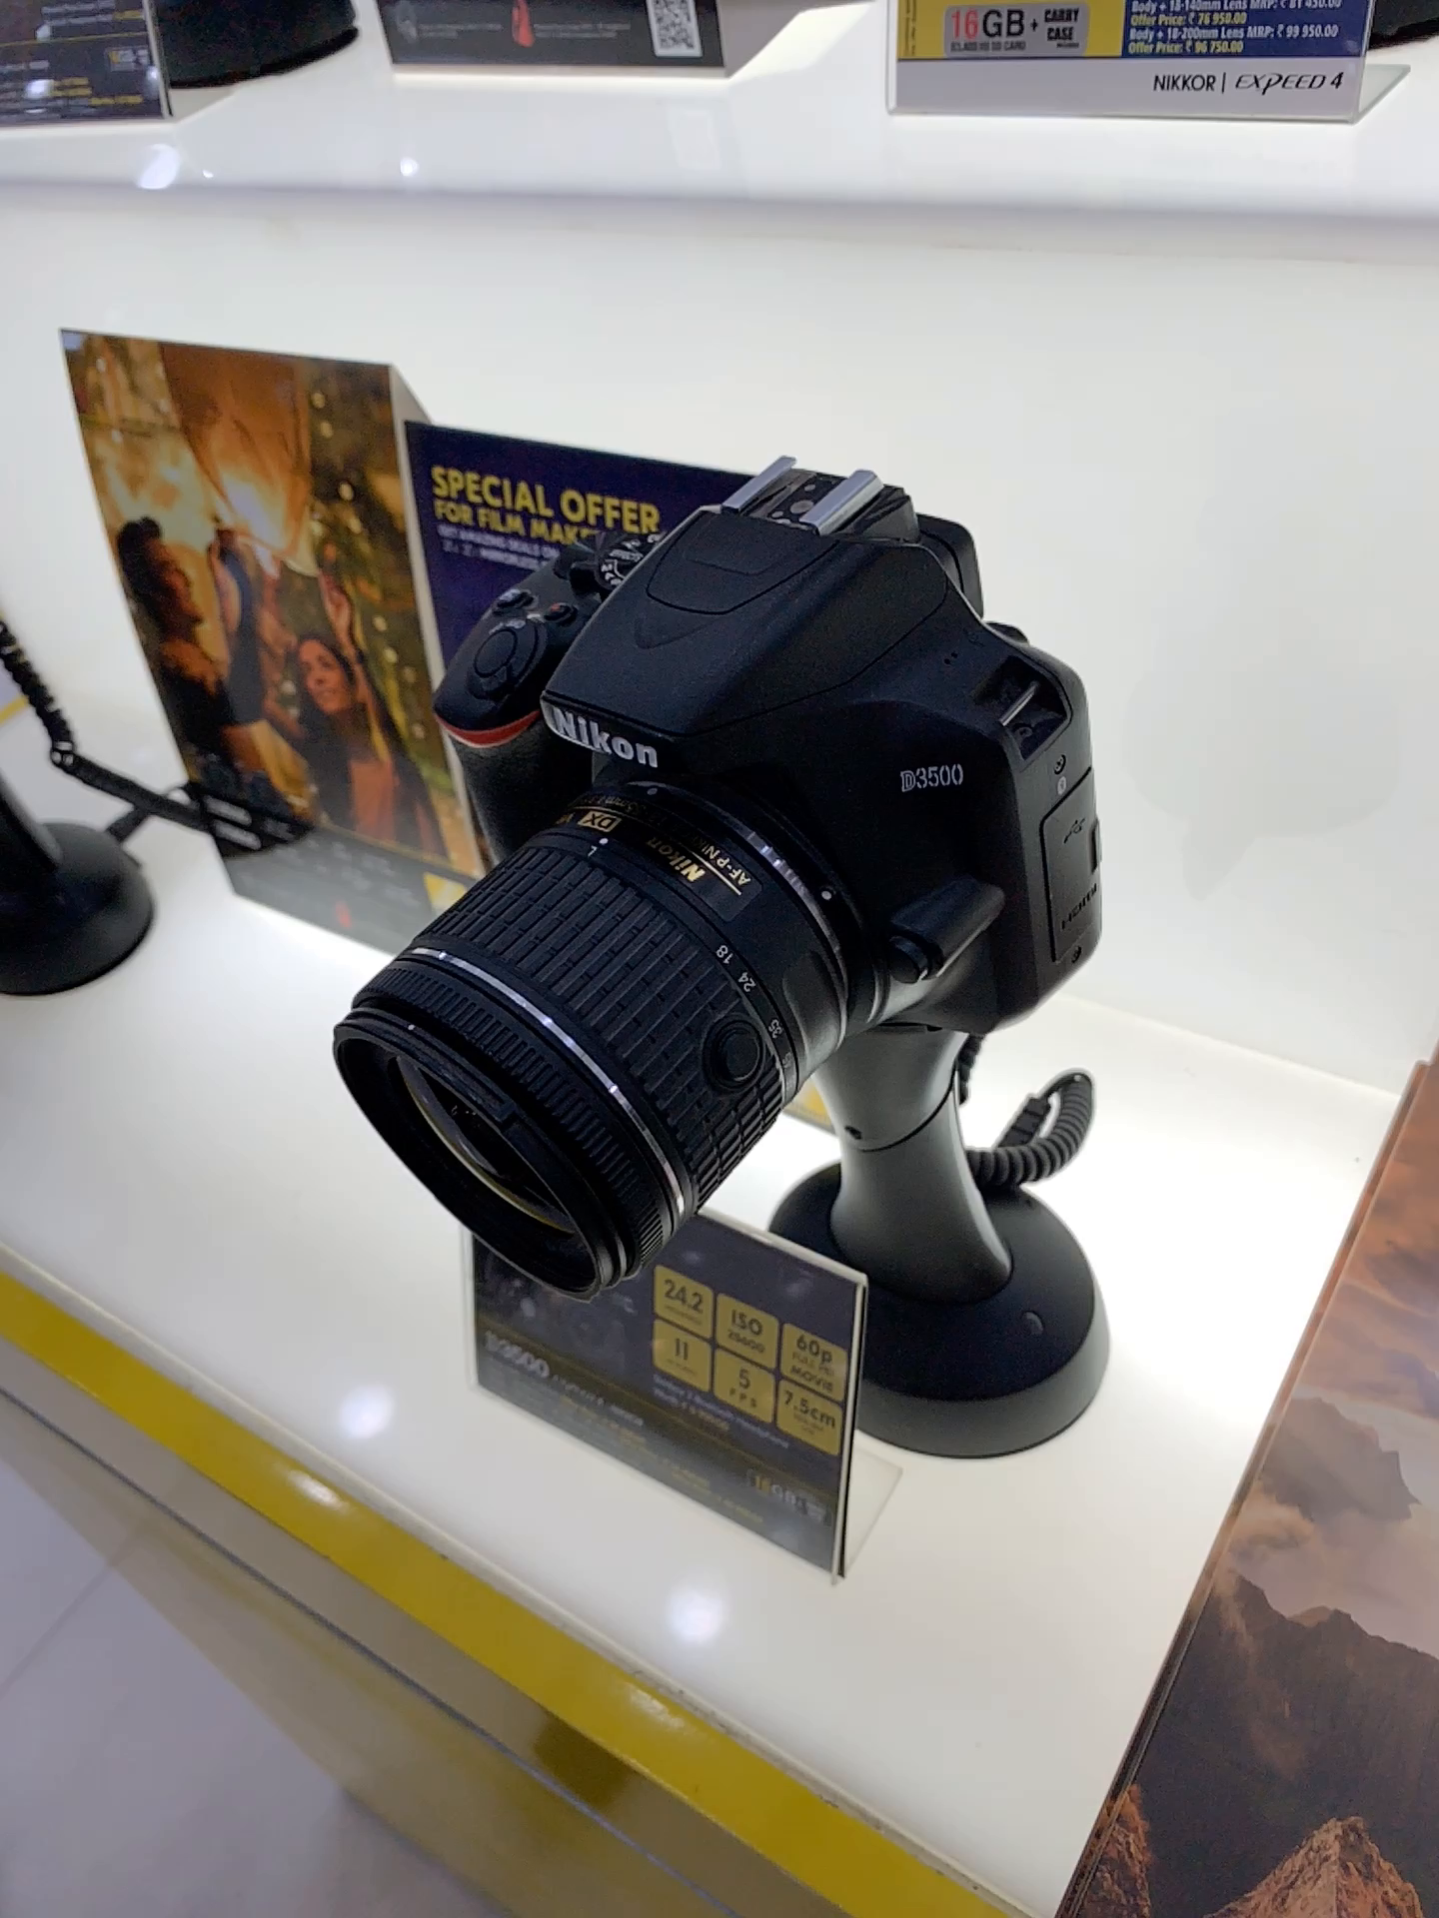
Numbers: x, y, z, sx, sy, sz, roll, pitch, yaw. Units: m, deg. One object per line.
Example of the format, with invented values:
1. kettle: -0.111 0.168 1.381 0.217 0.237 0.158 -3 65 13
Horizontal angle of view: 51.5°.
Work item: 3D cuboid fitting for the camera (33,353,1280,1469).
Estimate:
1. camera: 0.000 -0.024 0.236 0.110 0.070 0.150 23 54 34
